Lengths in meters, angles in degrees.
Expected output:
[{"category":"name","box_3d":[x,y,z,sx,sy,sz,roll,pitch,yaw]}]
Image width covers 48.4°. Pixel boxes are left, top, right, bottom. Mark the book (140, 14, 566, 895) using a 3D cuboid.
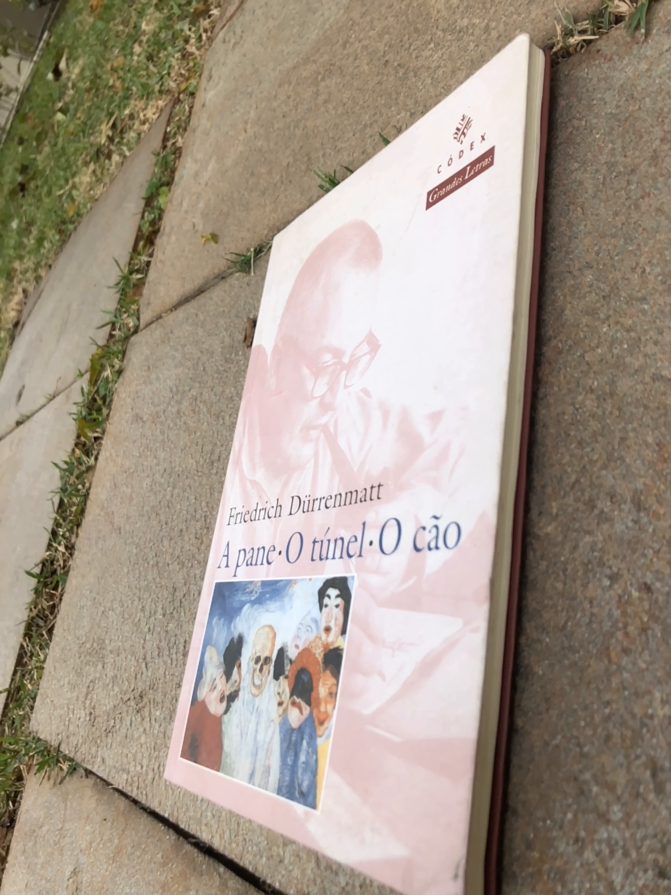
[{"category":"book","box_3d":[-0.002,0.002,0.213,0.141,0.015,0.199,-16,60,53]}]
